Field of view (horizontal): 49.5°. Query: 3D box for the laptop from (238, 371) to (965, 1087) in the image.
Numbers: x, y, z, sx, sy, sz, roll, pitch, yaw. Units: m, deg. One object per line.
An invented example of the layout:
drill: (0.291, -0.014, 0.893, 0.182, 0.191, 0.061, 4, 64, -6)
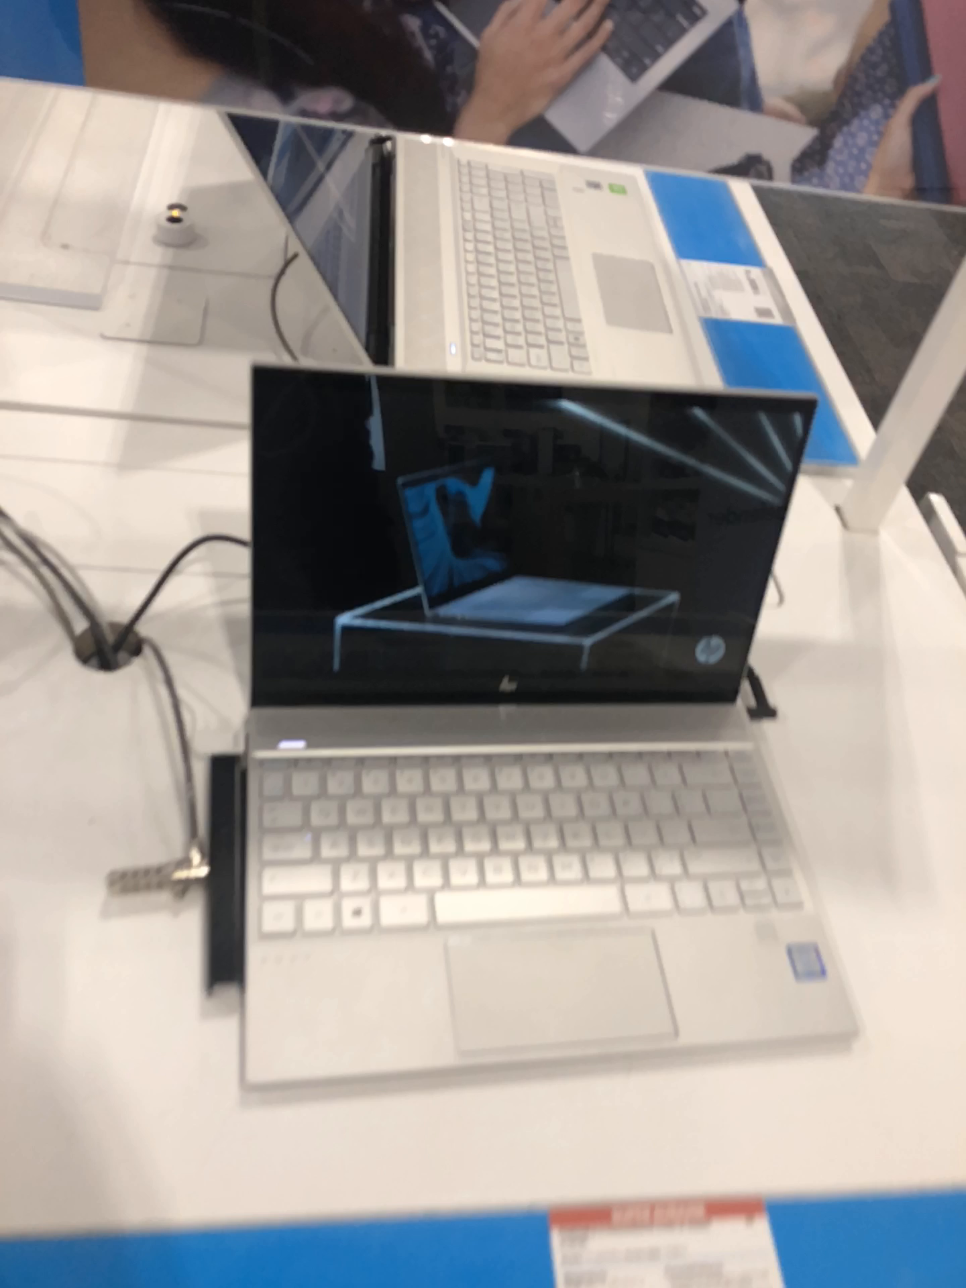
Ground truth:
laptop: (0.038, 0.031, 0.517, 0.298, 0.182, 0.272, 0, 49, -12)
